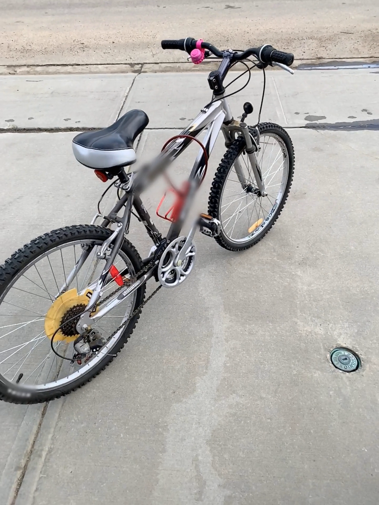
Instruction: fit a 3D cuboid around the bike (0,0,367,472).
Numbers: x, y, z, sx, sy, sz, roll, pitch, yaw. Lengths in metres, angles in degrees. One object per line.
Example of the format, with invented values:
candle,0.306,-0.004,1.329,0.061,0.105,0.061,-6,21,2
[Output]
bike,-0.089,-0.198,1.337,0.541,0.825,1.502,30,54,31
